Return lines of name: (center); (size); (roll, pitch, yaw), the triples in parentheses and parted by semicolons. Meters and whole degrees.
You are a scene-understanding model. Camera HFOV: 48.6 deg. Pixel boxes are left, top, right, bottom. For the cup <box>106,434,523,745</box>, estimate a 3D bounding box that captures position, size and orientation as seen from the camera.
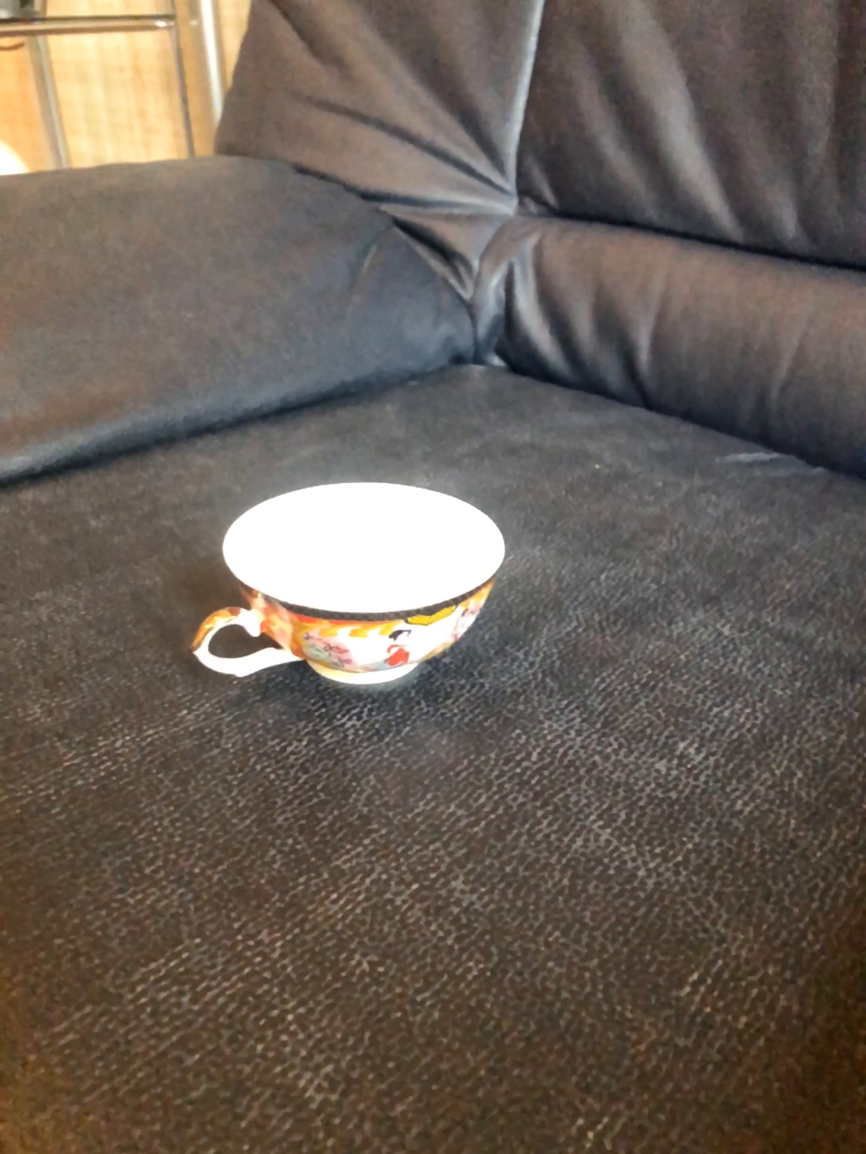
cup: (-0.042, -0.004, 0.343); (0.107, 0.041, 0.100); (0, 31, 0)
